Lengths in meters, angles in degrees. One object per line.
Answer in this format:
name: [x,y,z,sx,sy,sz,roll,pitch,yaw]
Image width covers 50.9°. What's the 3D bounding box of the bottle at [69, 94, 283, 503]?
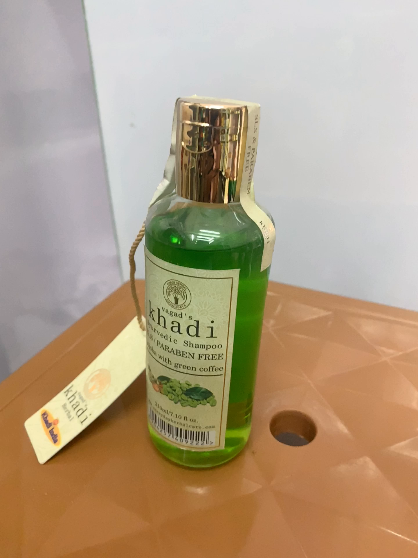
bottle: [-0.010,0.009,0.177,0.050,0.149,0.050,1,26,0]
